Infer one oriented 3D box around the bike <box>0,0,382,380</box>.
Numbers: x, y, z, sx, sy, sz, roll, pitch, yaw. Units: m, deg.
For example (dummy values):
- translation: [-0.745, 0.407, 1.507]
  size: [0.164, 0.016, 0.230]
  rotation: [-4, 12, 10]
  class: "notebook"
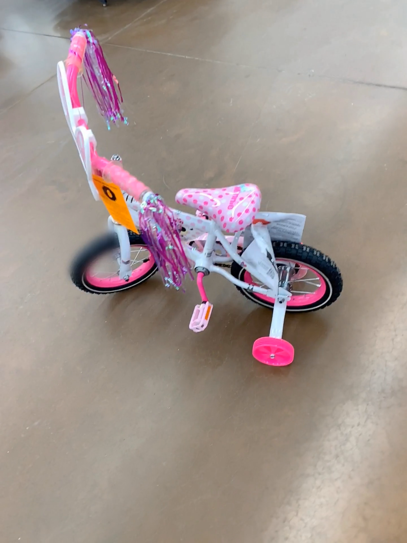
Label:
- translation: [-0.044, -0.145, 1.013]
  size: [0.725, 0.648, 0.502]
  rotation: [0, 51, 16]
  class: "bike"
